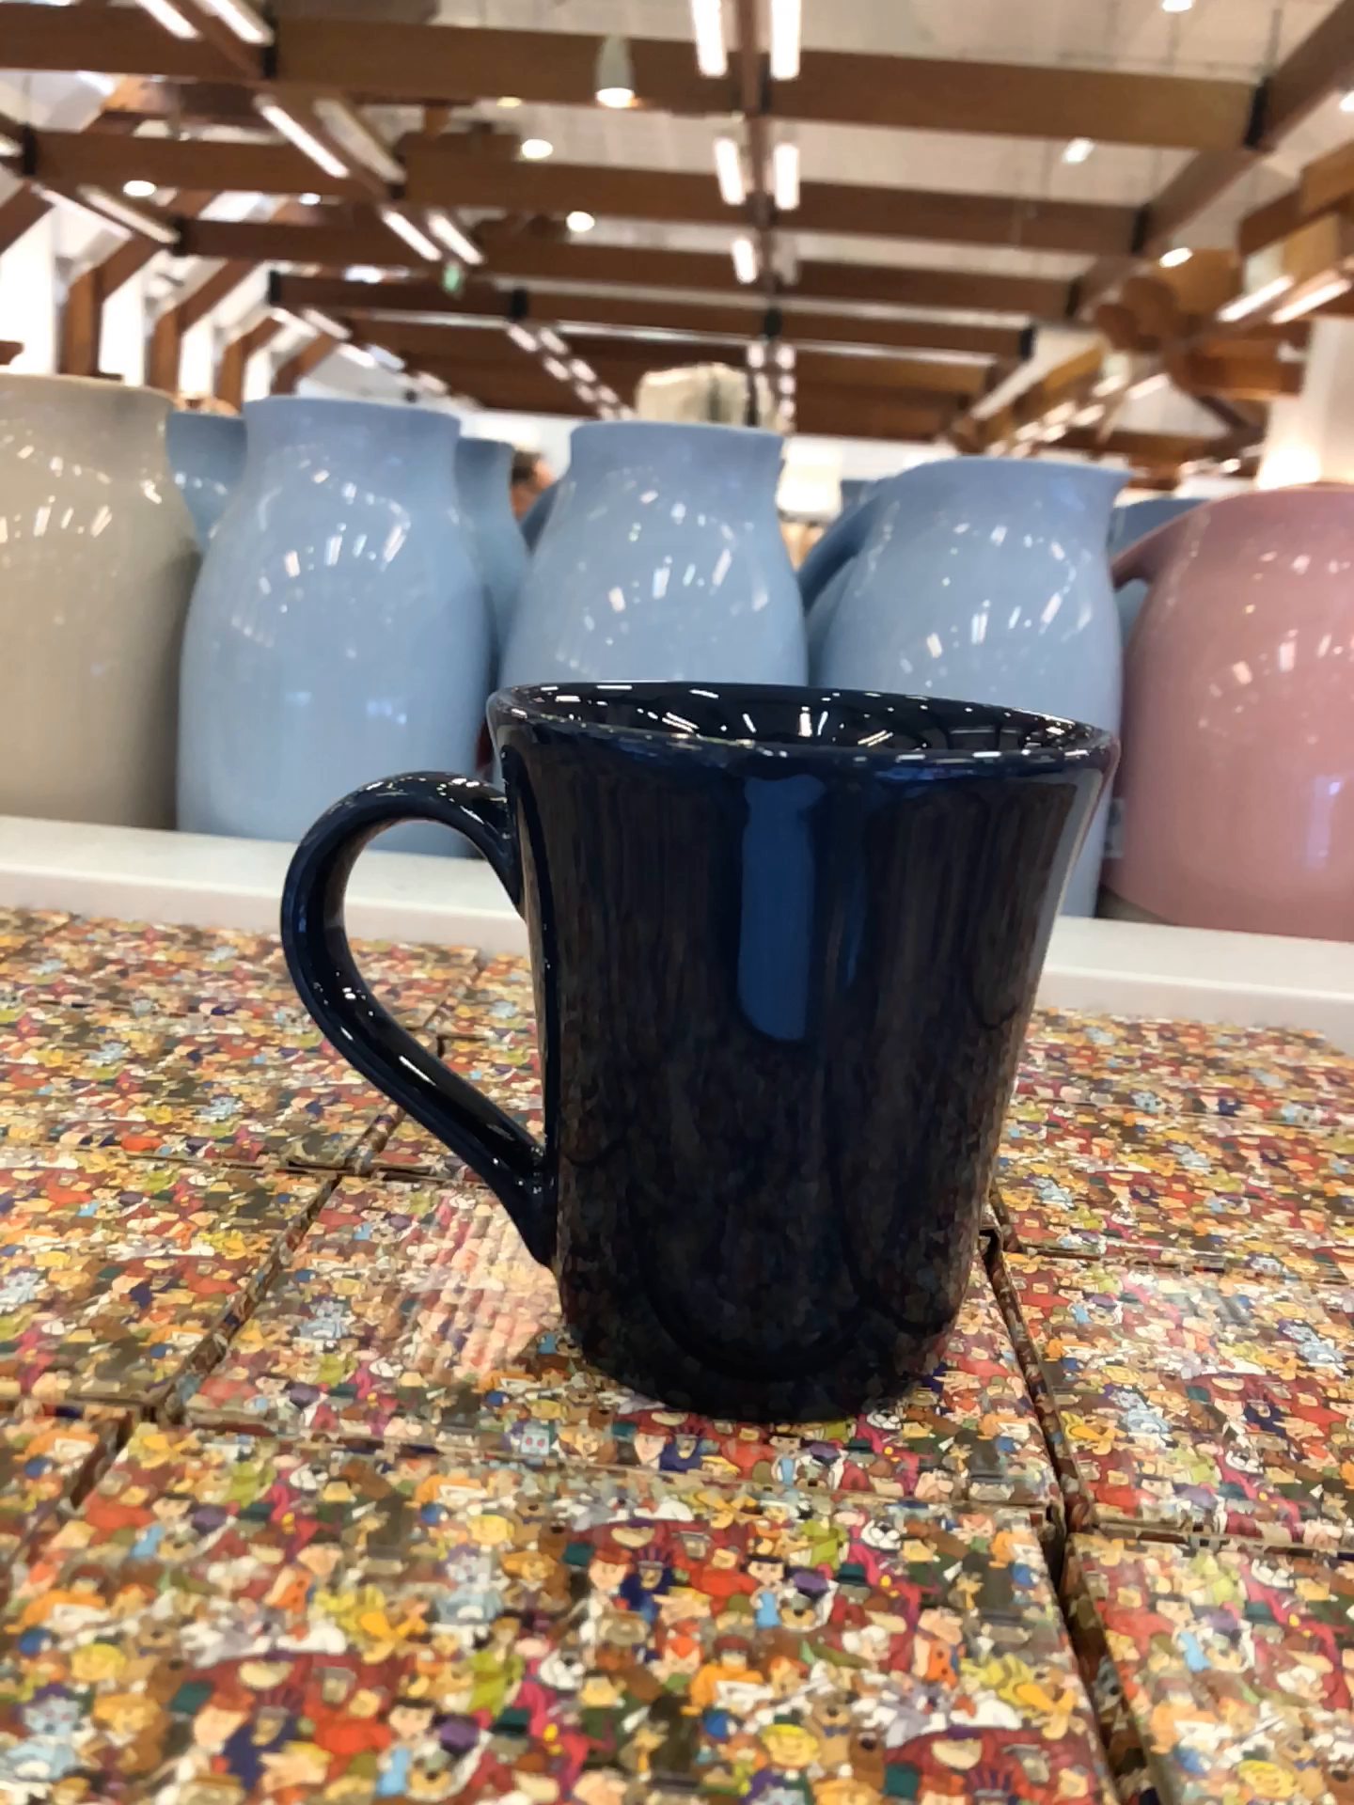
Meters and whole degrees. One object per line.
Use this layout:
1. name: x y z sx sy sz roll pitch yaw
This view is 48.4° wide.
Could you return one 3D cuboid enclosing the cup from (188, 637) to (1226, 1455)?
1. cup: 0.002 0.011 0.234 0.120 0.090 0.100 5 12 0
